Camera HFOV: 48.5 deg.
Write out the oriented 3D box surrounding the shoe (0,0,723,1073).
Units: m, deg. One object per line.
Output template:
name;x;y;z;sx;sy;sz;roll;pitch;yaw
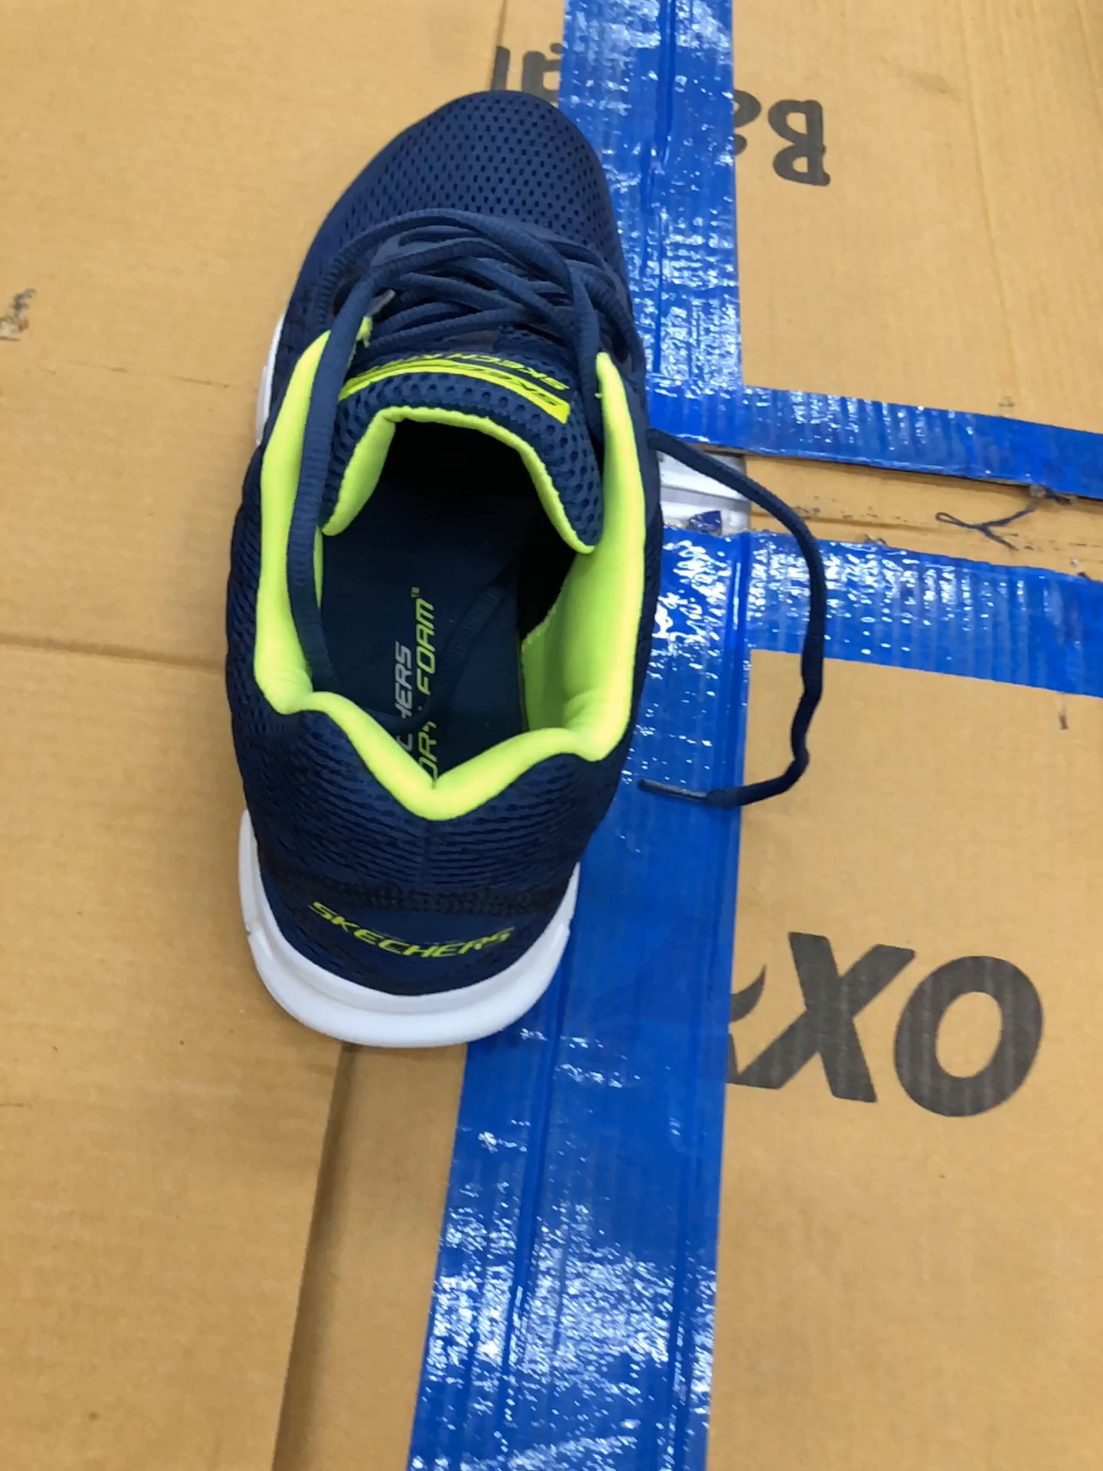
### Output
shoe;-0.035;-0.080;0.294;0.110;0.129;0.291;4;65;-6
